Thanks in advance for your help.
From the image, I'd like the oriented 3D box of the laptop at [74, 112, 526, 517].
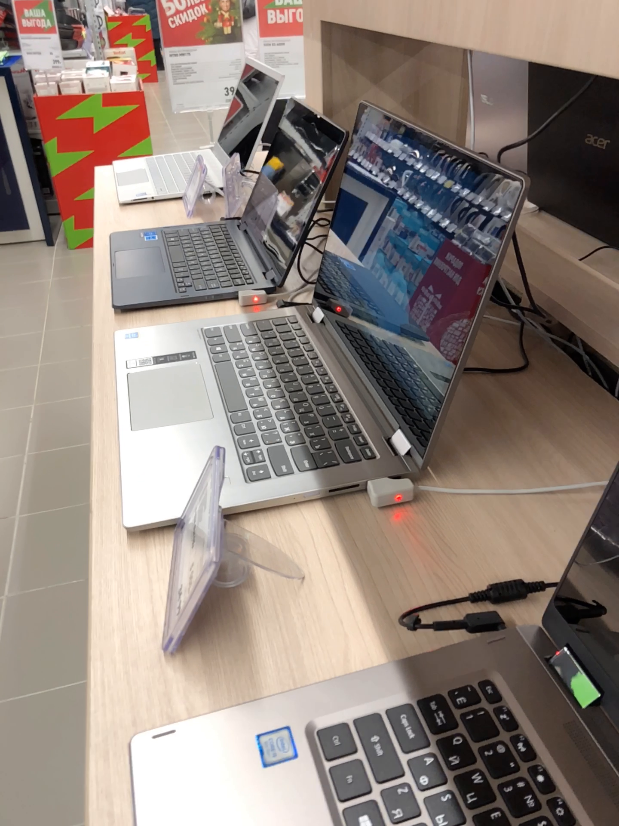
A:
[{"bbox_3d":[-0.033,-0.118,0.596,0.287,0.205,0.313,-10,33,-12],"label":"laptop"}]
